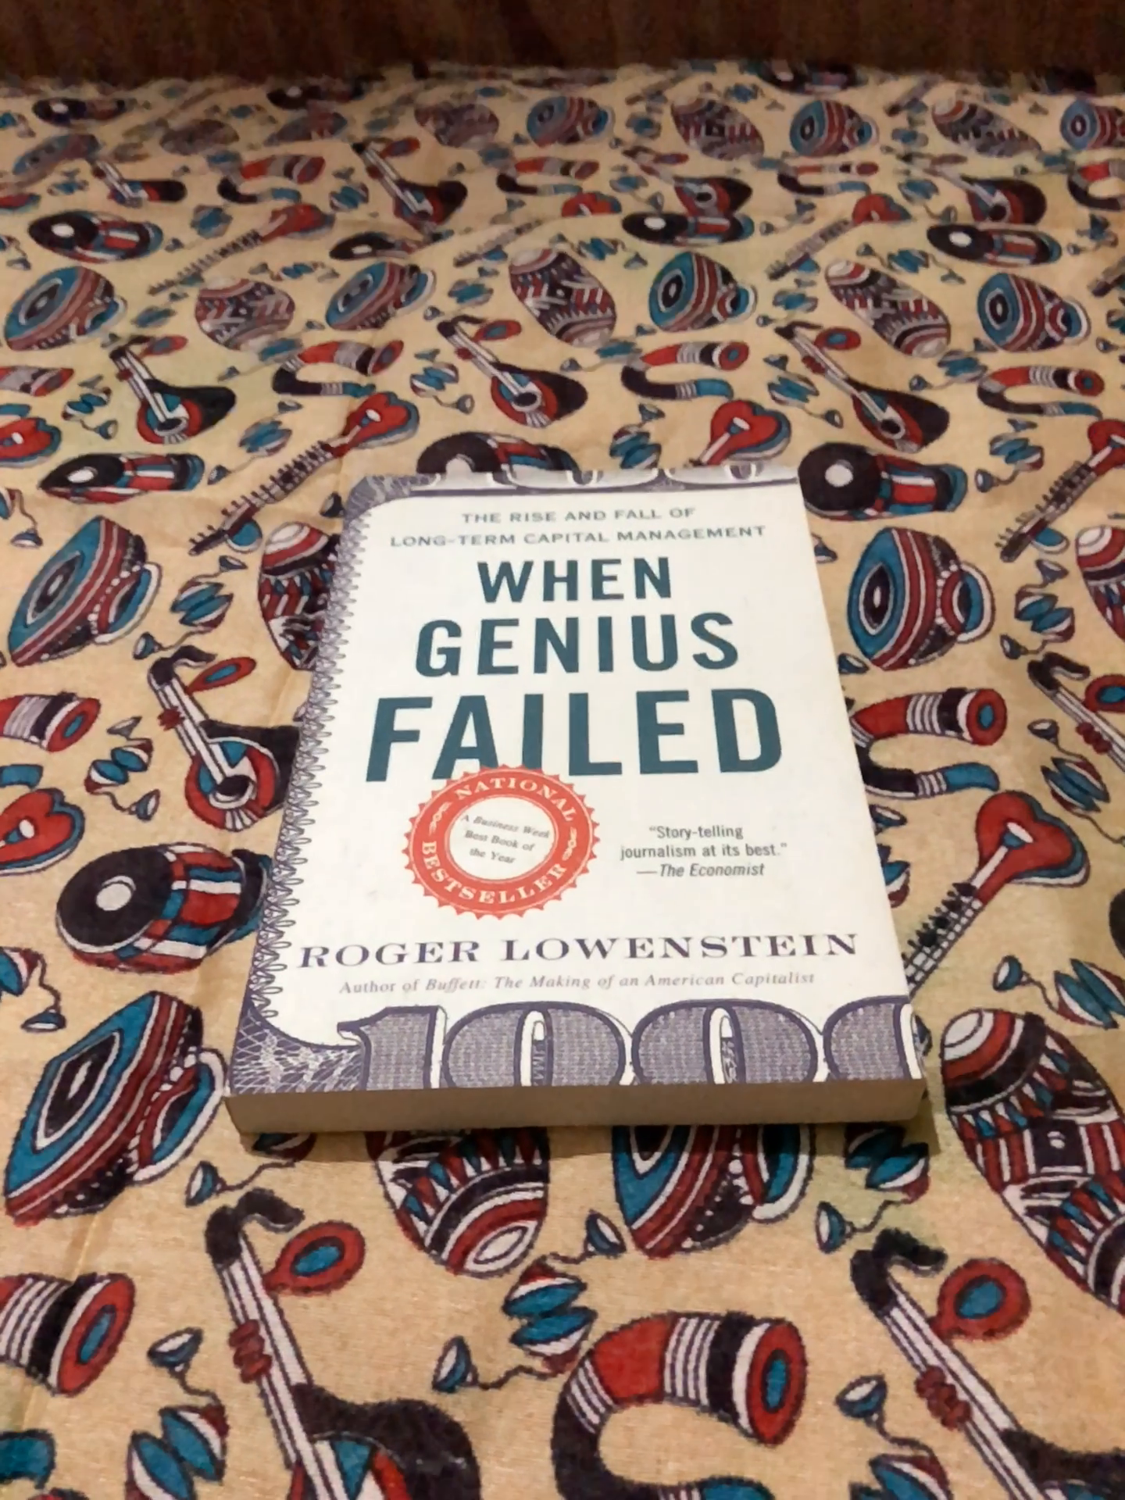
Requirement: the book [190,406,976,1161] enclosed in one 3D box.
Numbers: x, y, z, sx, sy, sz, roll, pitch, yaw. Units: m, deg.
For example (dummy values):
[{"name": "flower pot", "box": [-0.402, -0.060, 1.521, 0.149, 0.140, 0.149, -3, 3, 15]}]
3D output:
[{"name": "book", "box": [0.004, -0.011, 0.310, 0.140, 0.030, 0.221, 0, 47, 1]}]
